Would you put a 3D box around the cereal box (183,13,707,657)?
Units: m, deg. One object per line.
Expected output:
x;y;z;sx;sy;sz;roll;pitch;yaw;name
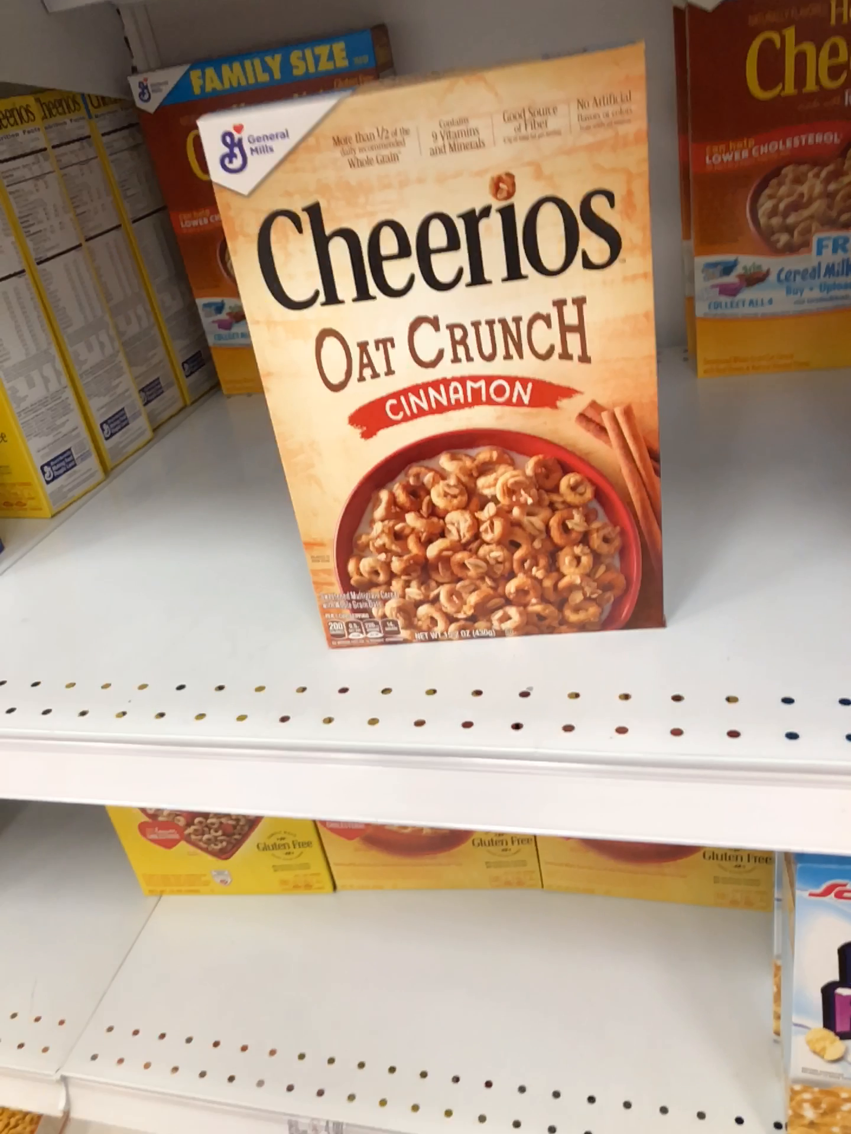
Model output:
0.026;-0.088;0.456;0.200;0.279;0.050;-5;32;12;cereal box
